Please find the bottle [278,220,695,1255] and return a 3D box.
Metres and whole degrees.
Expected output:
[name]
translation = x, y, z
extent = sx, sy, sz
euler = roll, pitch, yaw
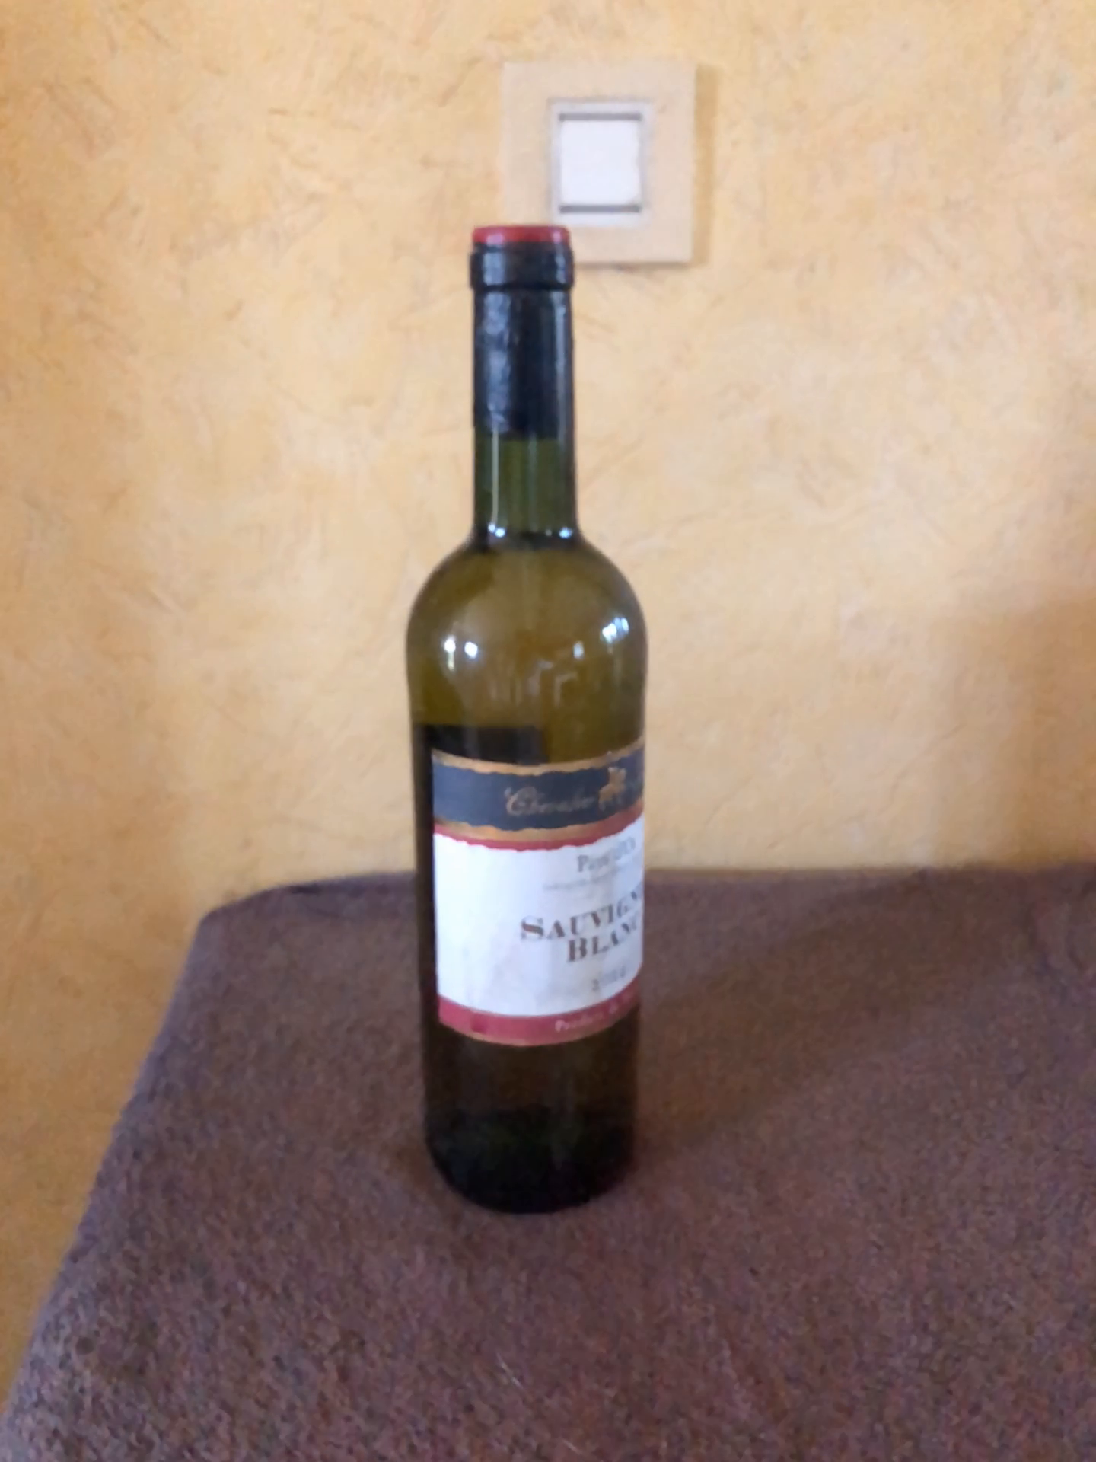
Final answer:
[bottle]
translation = -0.014, 0.002, 0.377
extent = 0.080, 0.289, 0.080
euler = -1, 19, 0
